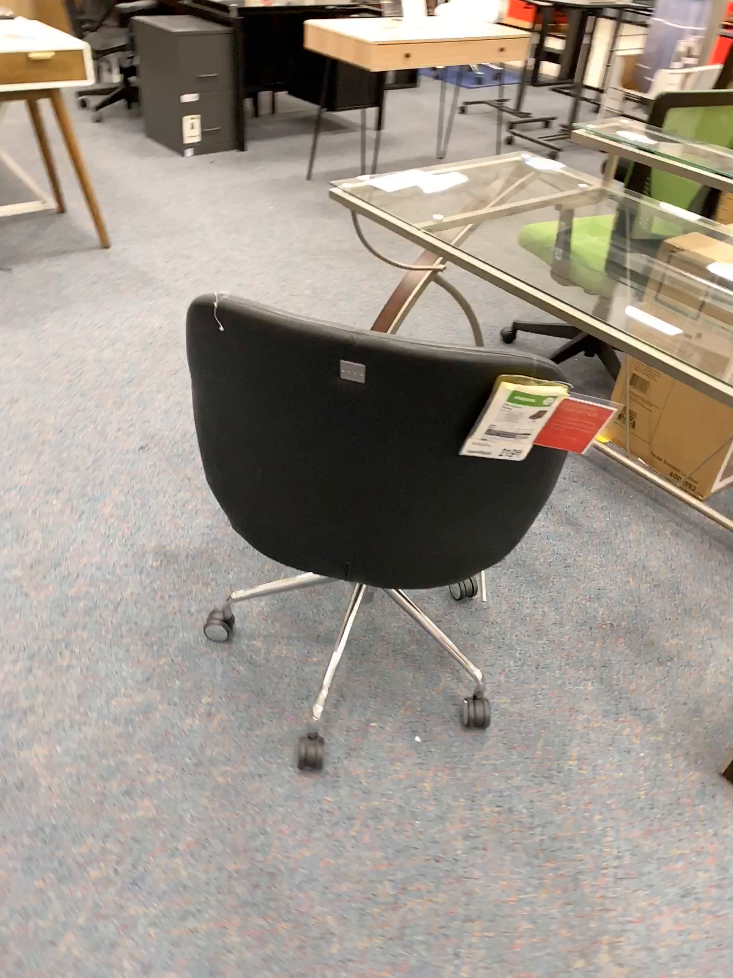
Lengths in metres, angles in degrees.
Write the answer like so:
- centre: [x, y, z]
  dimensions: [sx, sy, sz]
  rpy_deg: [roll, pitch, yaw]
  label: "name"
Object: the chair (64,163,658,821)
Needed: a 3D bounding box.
- centre: [0.009, -0.004, 1.326]
  dimensions: [0.657, 0.843, 0.658]
  rpy_deg: [10, 39, 5]
  label: "chair"
